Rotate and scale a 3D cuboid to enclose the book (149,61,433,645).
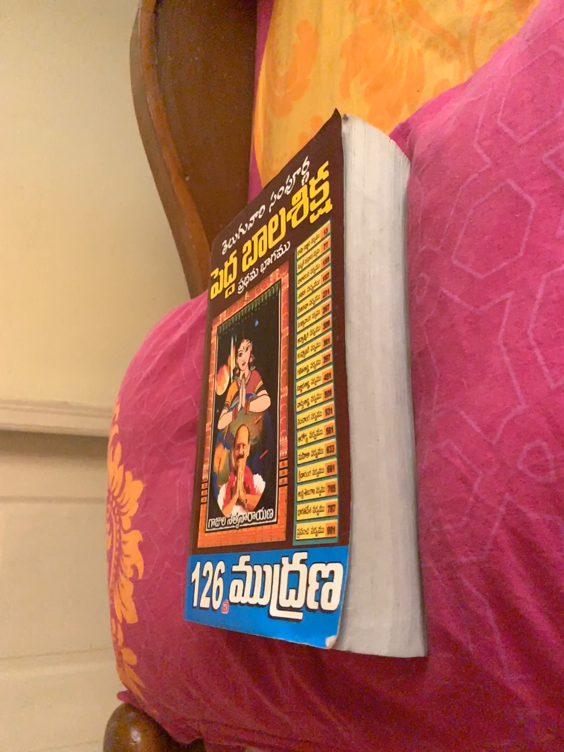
[{"bbox_3d":[-0.005,-0.003,0.327,0.181,0.050,0.260,-27,55,55],"label":"book"}]
